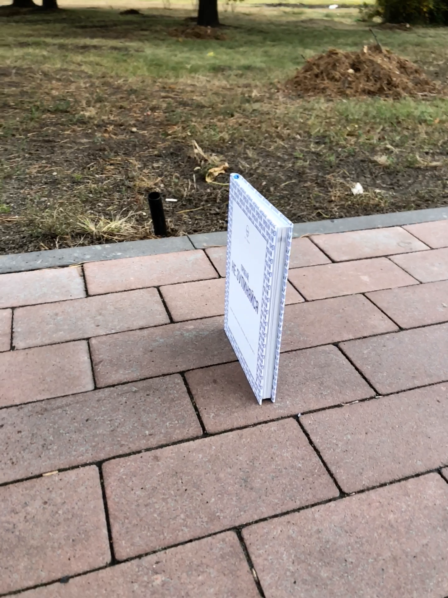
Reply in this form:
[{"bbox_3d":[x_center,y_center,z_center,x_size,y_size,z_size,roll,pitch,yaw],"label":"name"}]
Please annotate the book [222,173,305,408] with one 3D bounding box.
[{"bbox_3d":[0.032,-0.013,0.515,0.022,0.196,0.152,-7,31,-15],"label":"book"}]
